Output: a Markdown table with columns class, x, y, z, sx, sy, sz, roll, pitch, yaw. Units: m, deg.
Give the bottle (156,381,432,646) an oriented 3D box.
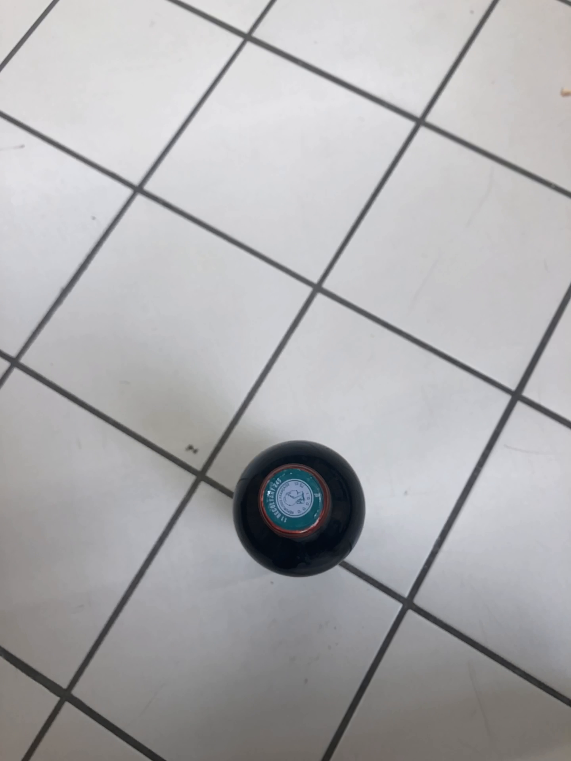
| class | x | y | z | sx | sy | sz | roll | pitch | yaw |
| --- | --- | --- | --- | --- | --- | --- | --- | --- | --- |
| bottle | 0.008 | 0.084 | 0.390 | 0.090 | 0.290 | 0.080 | 15 | 77 | 5 |
